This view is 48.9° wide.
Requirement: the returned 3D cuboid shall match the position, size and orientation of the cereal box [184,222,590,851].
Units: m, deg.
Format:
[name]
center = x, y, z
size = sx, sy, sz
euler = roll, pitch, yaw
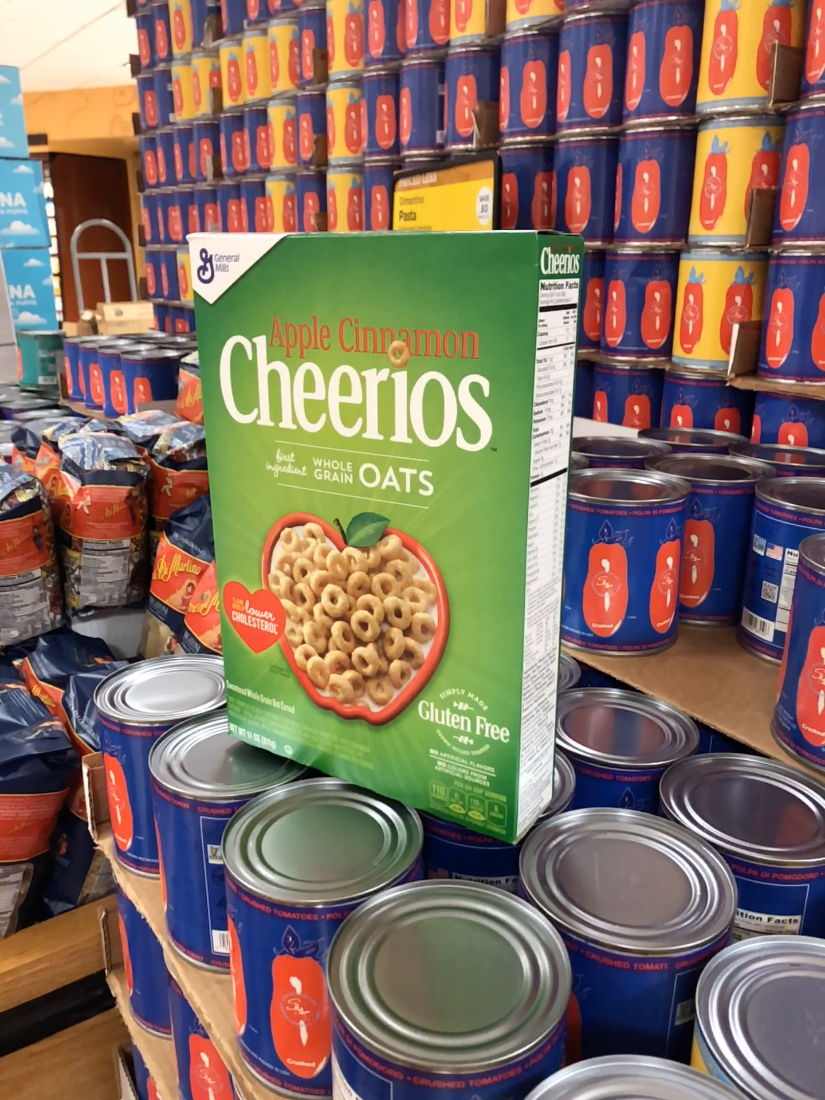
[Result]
[cereal box]
center = -0.019, -0.015, 0.472
size = 0.200, 0.288, 0.050
euler = 11, 21, 32
